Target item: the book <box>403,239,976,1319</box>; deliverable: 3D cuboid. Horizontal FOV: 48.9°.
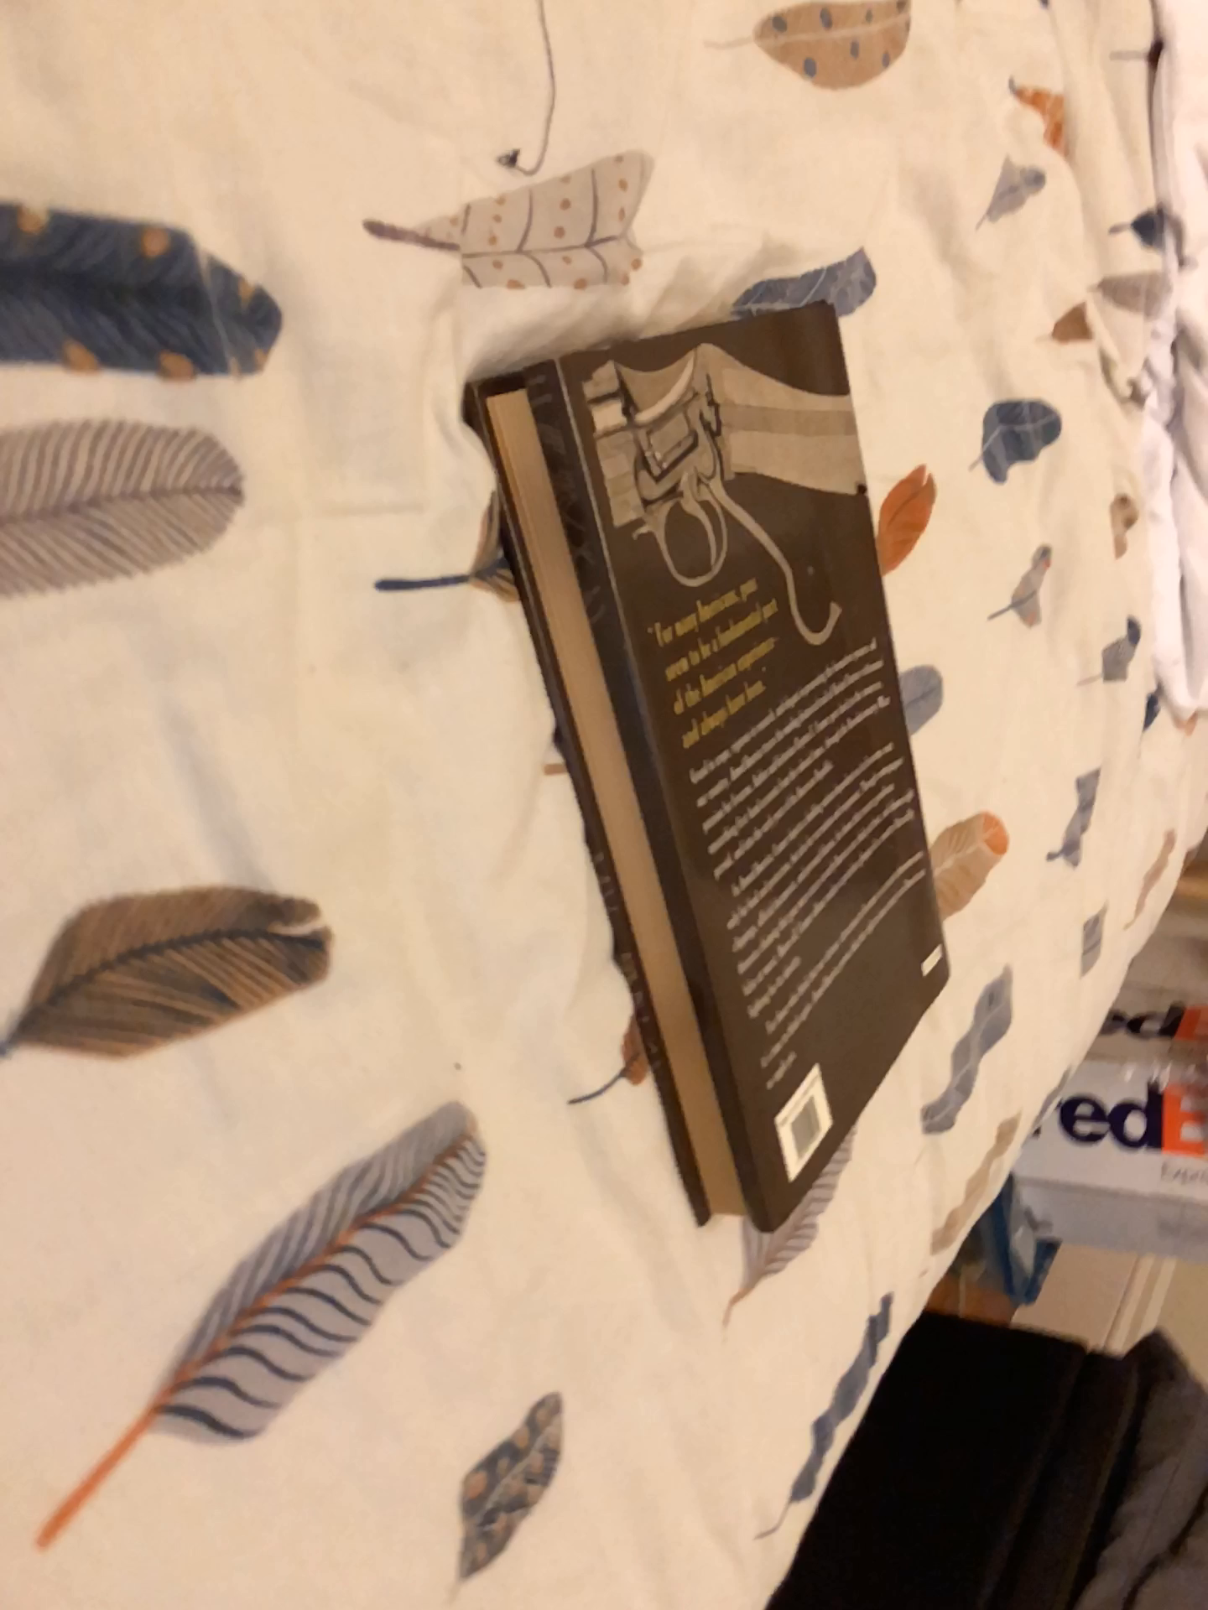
[{"bbox_3d":[0.044,-0.021,0.362,0.181,0.030,0.240,-35,118,-50],"label":"book"}]
